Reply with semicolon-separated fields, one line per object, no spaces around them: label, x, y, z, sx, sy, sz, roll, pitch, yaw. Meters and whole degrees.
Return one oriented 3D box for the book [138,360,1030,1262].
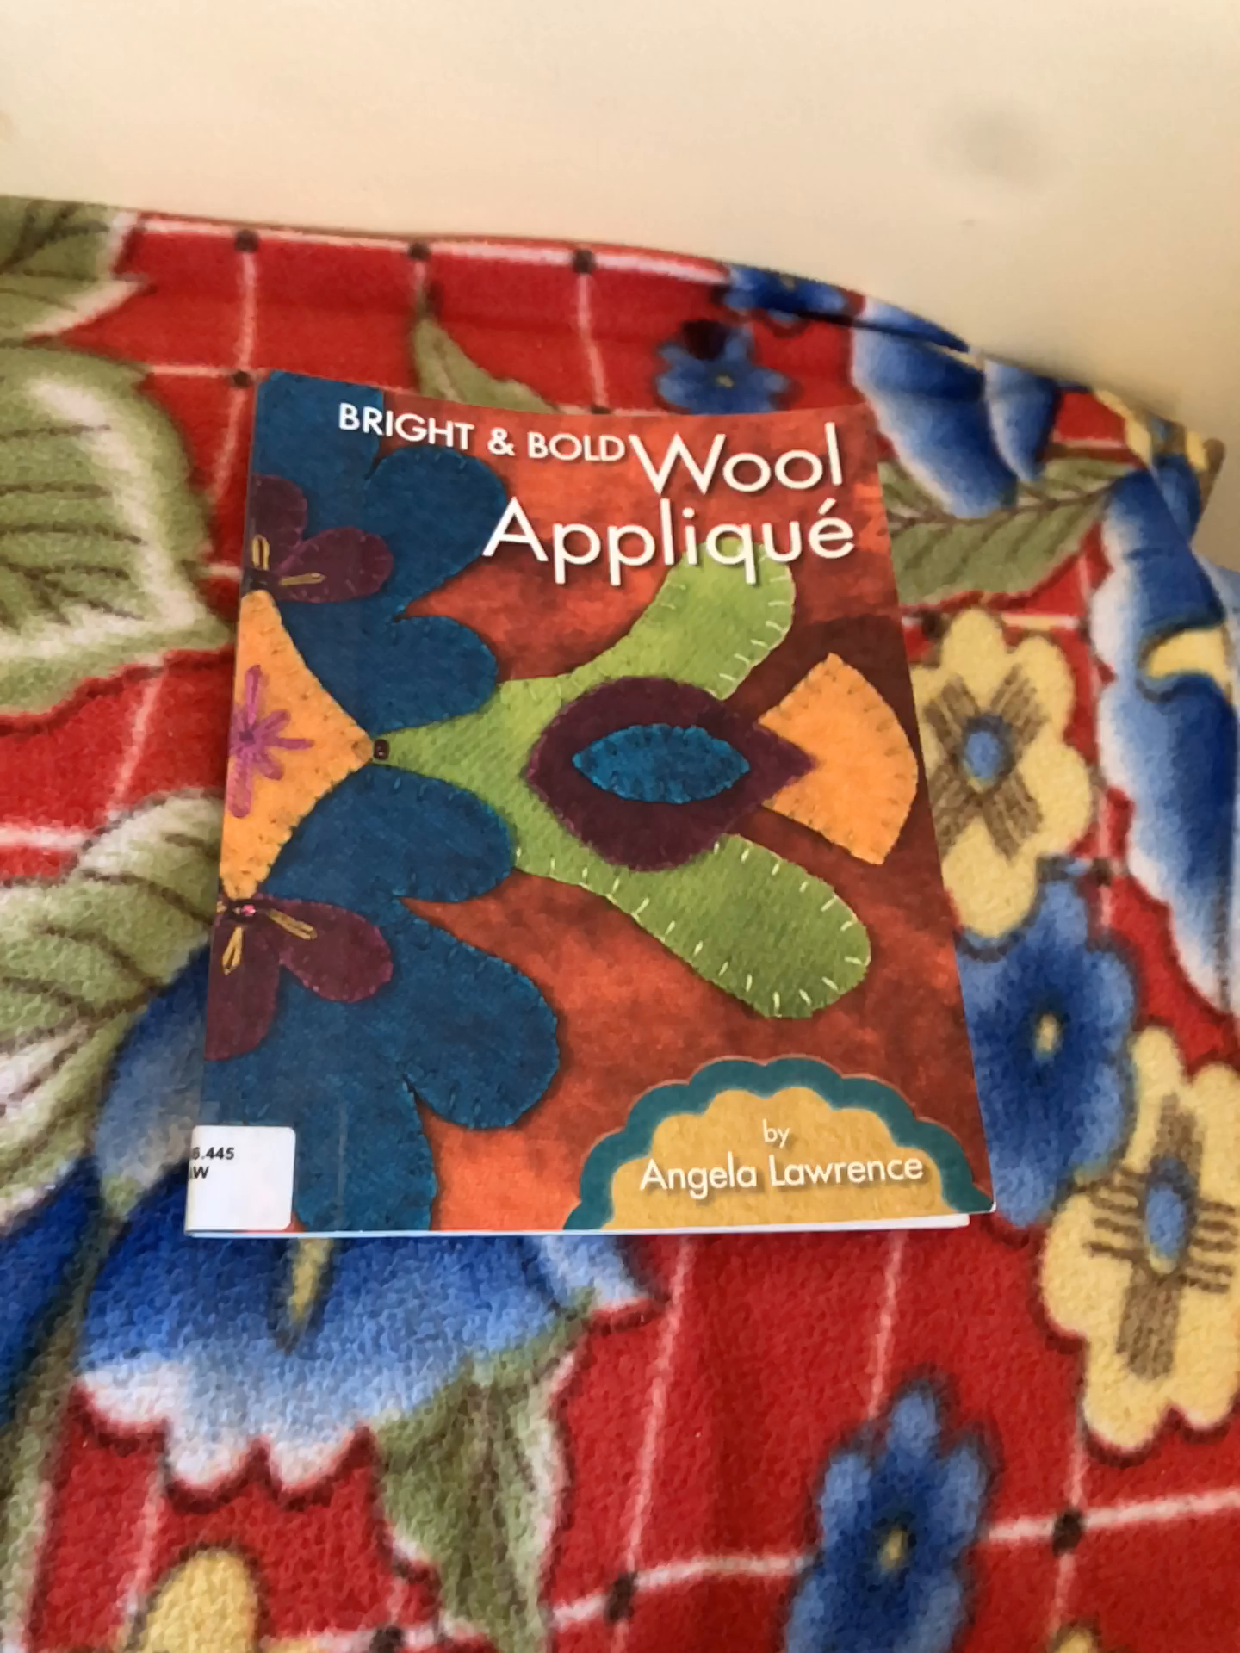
book;-0.011;-0.016;0.399;0.220;0.020;0.264;2;64;-12
